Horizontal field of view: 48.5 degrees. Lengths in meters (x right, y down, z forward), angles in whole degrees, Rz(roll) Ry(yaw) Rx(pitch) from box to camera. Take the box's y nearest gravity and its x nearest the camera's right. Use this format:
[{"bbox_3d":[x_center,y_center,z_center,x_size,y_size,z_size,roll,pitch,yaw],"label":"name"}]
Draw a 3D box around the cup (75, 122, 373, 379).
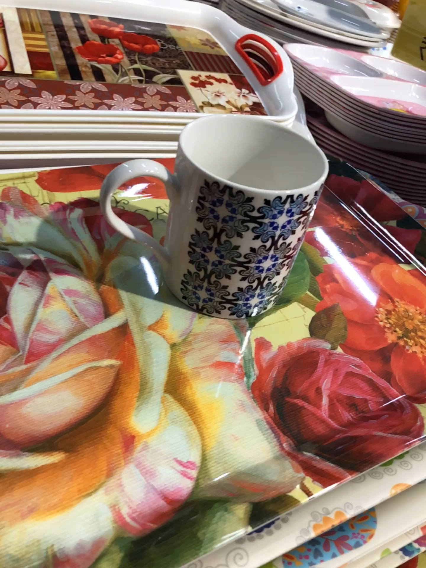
[{"bbox_3d":[-0.004,-0.027,0.275,0.130,0.099,0.090,-10,45,-26],"label":"cup"}]
